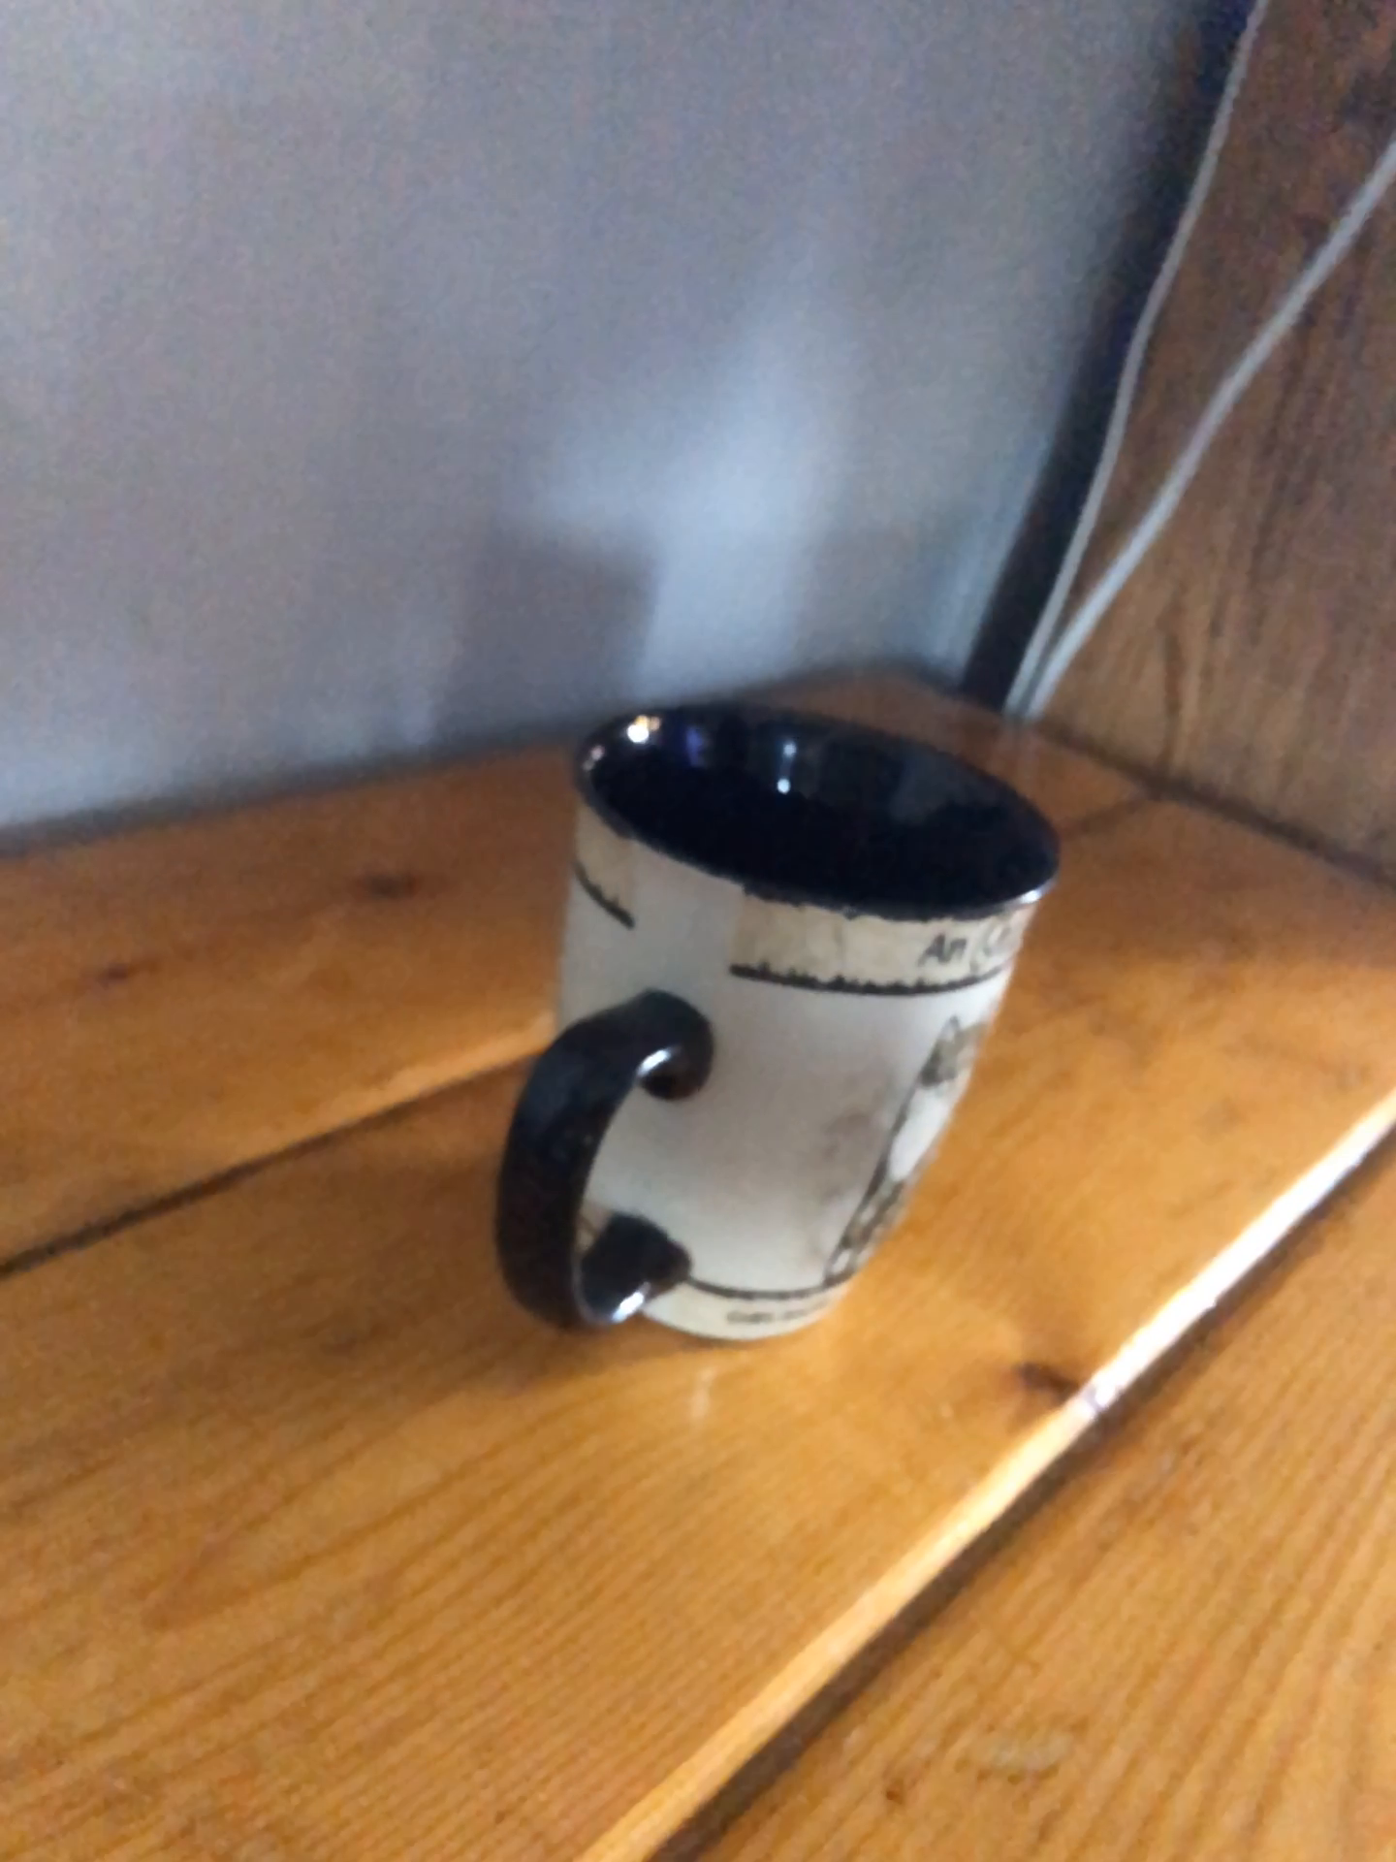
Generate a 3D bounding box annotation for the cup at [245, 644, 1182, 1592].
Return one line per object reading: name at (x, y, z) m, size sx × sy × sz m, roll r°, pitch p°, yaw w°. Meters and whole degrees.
cup at (0.006, 0.020, 0.302) m, size 0.100 × 0.100 × 0.140 m, roll 28°, pitch 30°, yaw 24°
